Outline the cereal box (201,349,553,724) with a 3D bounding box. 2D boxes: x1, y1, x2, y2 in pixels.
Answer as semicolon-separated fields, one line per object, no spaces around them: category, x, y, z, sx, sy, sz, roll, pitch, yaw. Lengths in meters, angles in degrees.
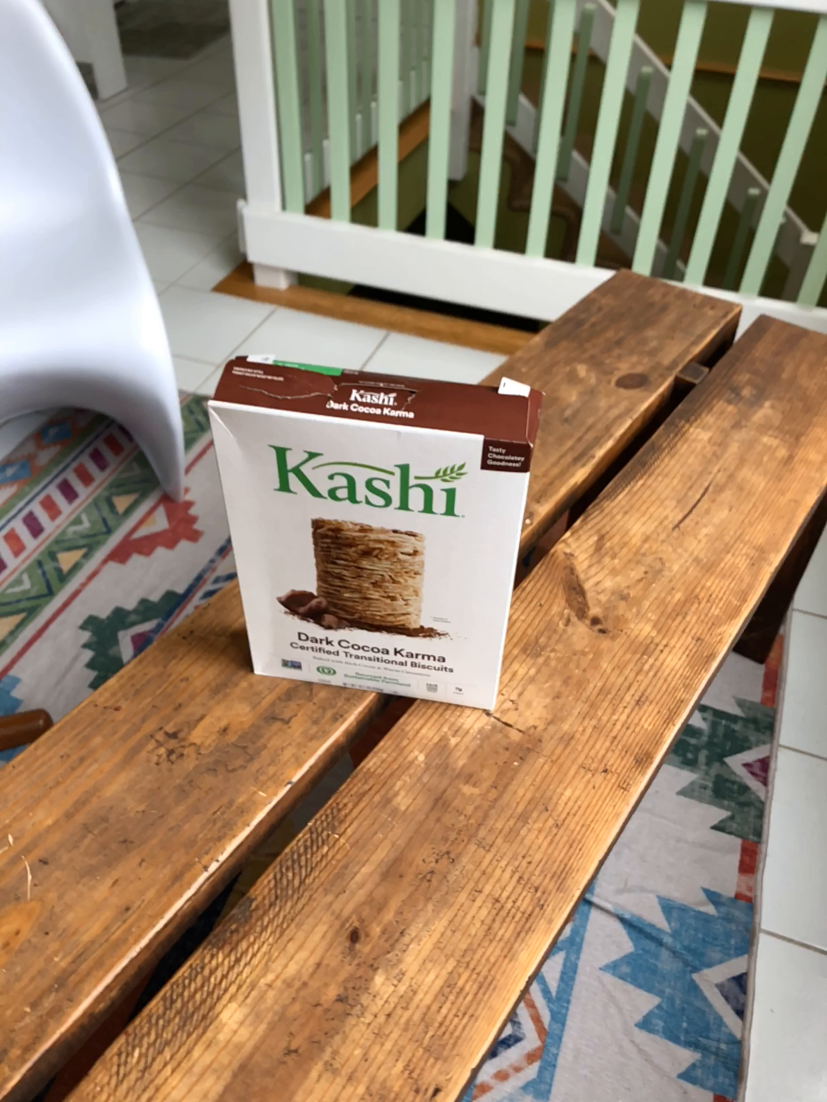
cereal box;-0.023;0.005;0.639;0.200;0.278;0.060;8;47;5
